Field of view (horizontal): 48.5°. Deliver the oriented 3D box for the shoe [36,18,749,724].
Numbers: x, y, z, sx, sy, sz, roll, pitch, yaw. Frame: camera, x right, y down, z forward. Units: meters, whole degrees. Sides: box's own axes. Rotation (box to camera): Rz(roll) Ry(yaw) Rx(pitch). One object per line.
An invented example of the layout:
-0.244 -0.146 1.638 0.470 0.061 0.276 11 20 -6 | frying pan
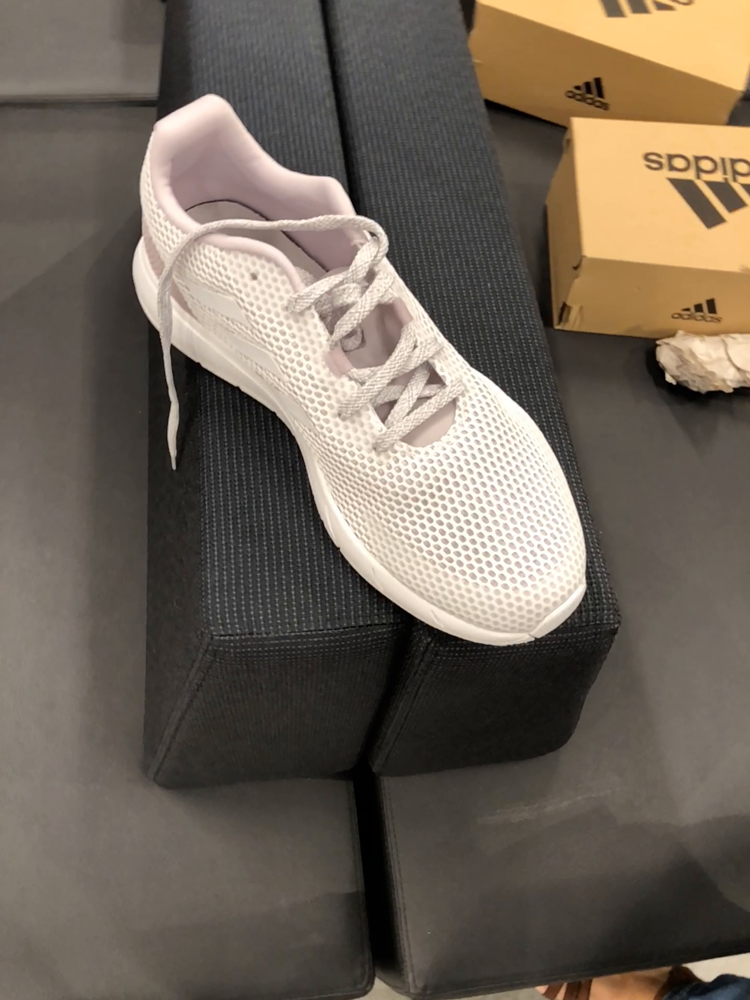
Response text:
-0.006 -0.060 0.381 0.120 0.140 0.280 -37 71 -21 | shoe
